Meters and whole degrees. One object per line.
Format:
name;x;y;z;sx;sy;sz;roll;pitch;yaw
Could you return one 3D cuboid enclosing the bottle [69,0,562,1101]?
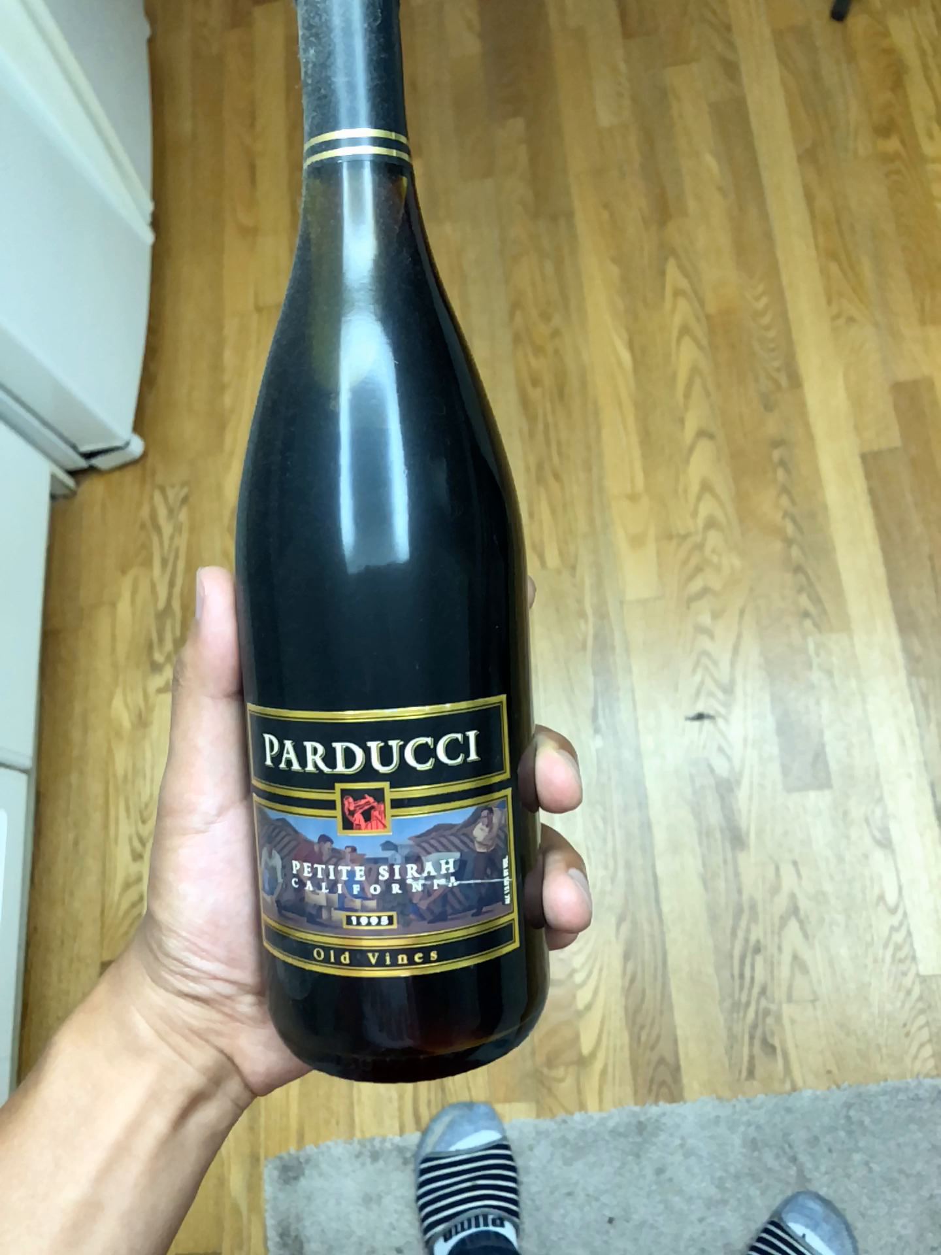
bottle;-0.029;-0.025;0.276;0.090;0.070;0.280;-2;99;8
